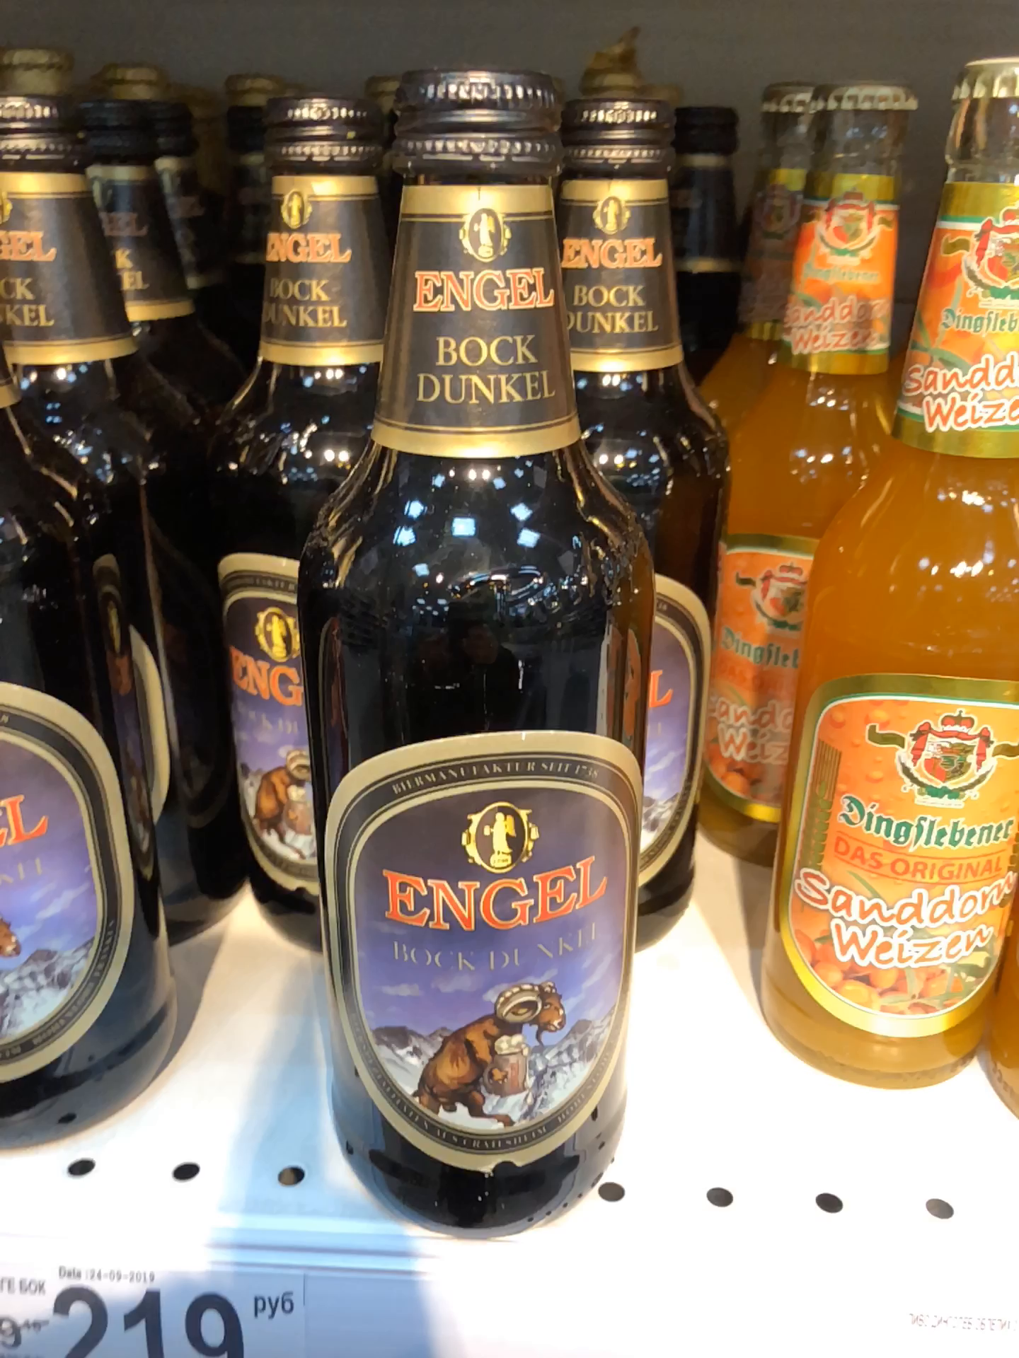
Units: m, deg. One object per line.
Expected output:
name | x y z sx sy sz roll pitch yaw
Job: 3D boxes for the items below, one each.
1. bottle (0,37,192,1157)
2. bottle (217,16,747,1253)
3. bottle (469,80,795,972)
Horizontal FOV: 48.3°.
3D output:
bottle | -0.124 -0.005 0.251 0.070 0.233 0.061 0 24 -2
bottle | -0.006 0.005 0.224 0.070 0.229 0.061 0 24 -3
bottle | 0.026 -0.035 0.321 0.069 0.233 0.070 1 24 0
